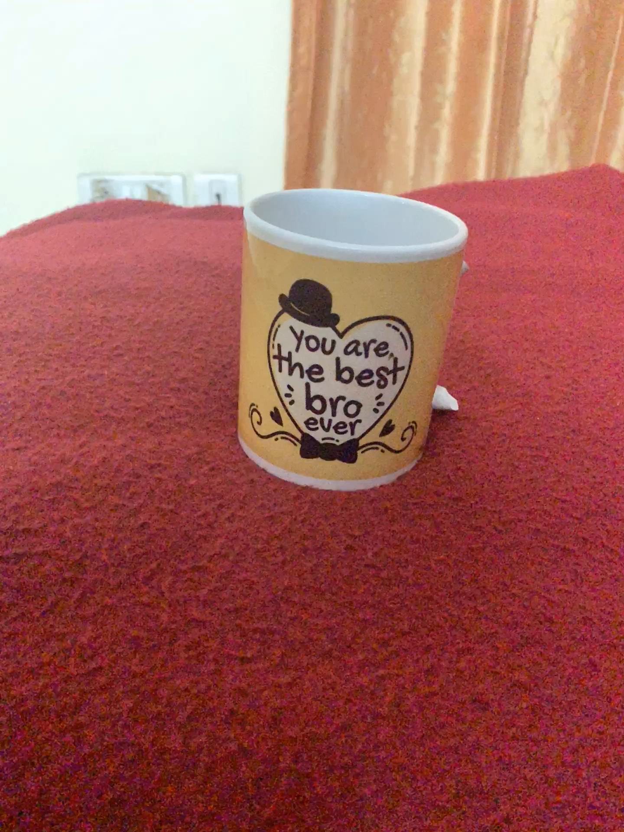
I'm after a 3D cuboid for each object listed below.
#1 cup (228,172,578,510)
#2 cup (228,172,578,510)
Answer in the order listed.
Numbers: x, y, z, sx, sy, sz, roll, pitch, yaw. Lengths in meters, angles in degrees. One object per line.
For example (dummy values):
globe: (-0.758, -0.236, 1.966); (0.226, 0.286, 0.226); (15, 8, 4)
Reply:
cup: (0.025, -0.033, 0.263); (0.110, 0.109, 0.081); (3, 27, -3)
cup: (0.025, -0.033, 0.263); (0.110, 0.109, 0.081); (3, 27, -3)
